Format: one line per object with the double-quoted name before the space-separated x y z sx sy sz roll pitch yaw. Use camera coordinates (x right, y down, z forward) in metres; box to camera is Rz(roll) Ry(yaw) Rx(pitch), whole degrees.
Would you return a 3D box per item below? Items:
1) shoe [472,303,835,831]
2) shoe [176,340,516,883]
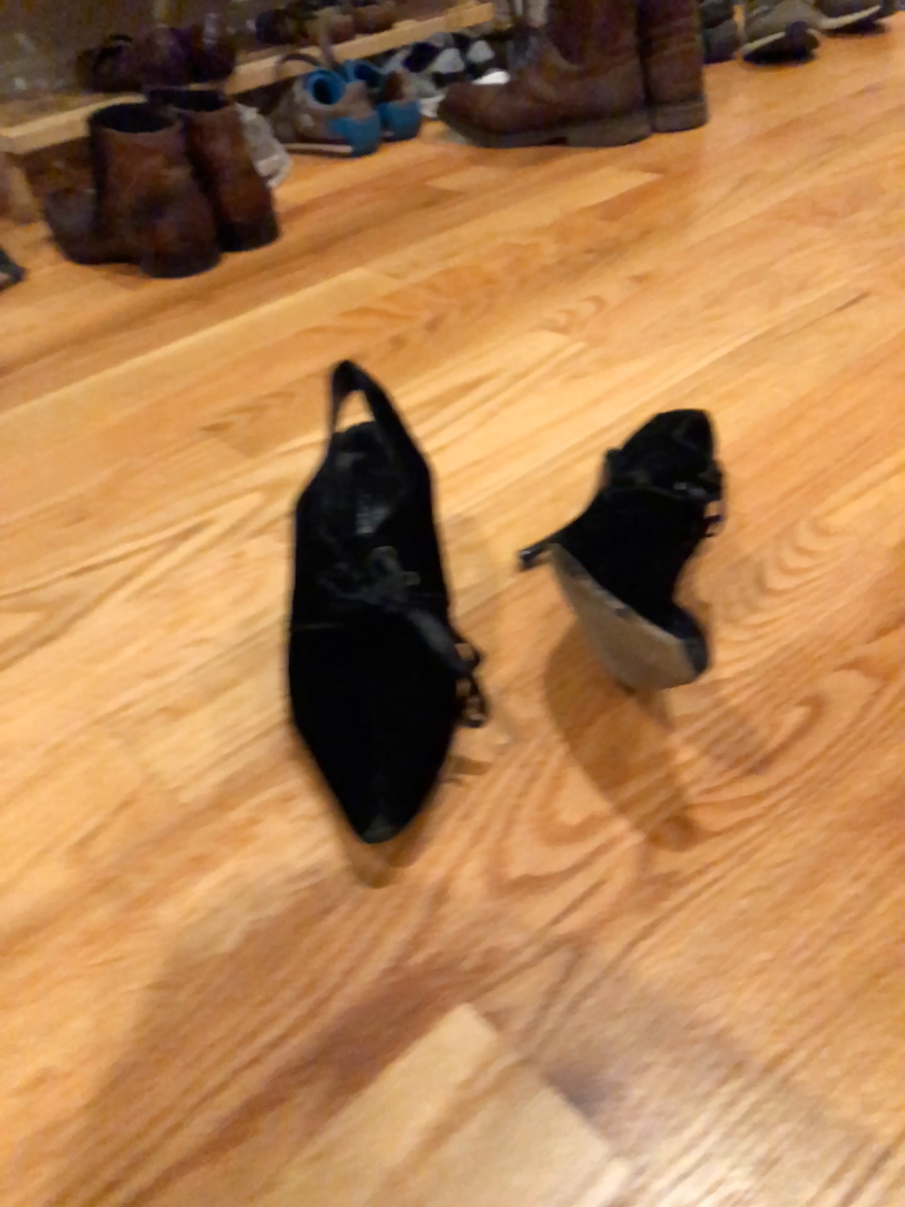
"shoe" 0.082 -0.032 0.462 0.117 0.107 0.253 -4 37 9
"shoe" -0.036 -0.013 0.477 0.107 0.117 0.253 -6 37 4
